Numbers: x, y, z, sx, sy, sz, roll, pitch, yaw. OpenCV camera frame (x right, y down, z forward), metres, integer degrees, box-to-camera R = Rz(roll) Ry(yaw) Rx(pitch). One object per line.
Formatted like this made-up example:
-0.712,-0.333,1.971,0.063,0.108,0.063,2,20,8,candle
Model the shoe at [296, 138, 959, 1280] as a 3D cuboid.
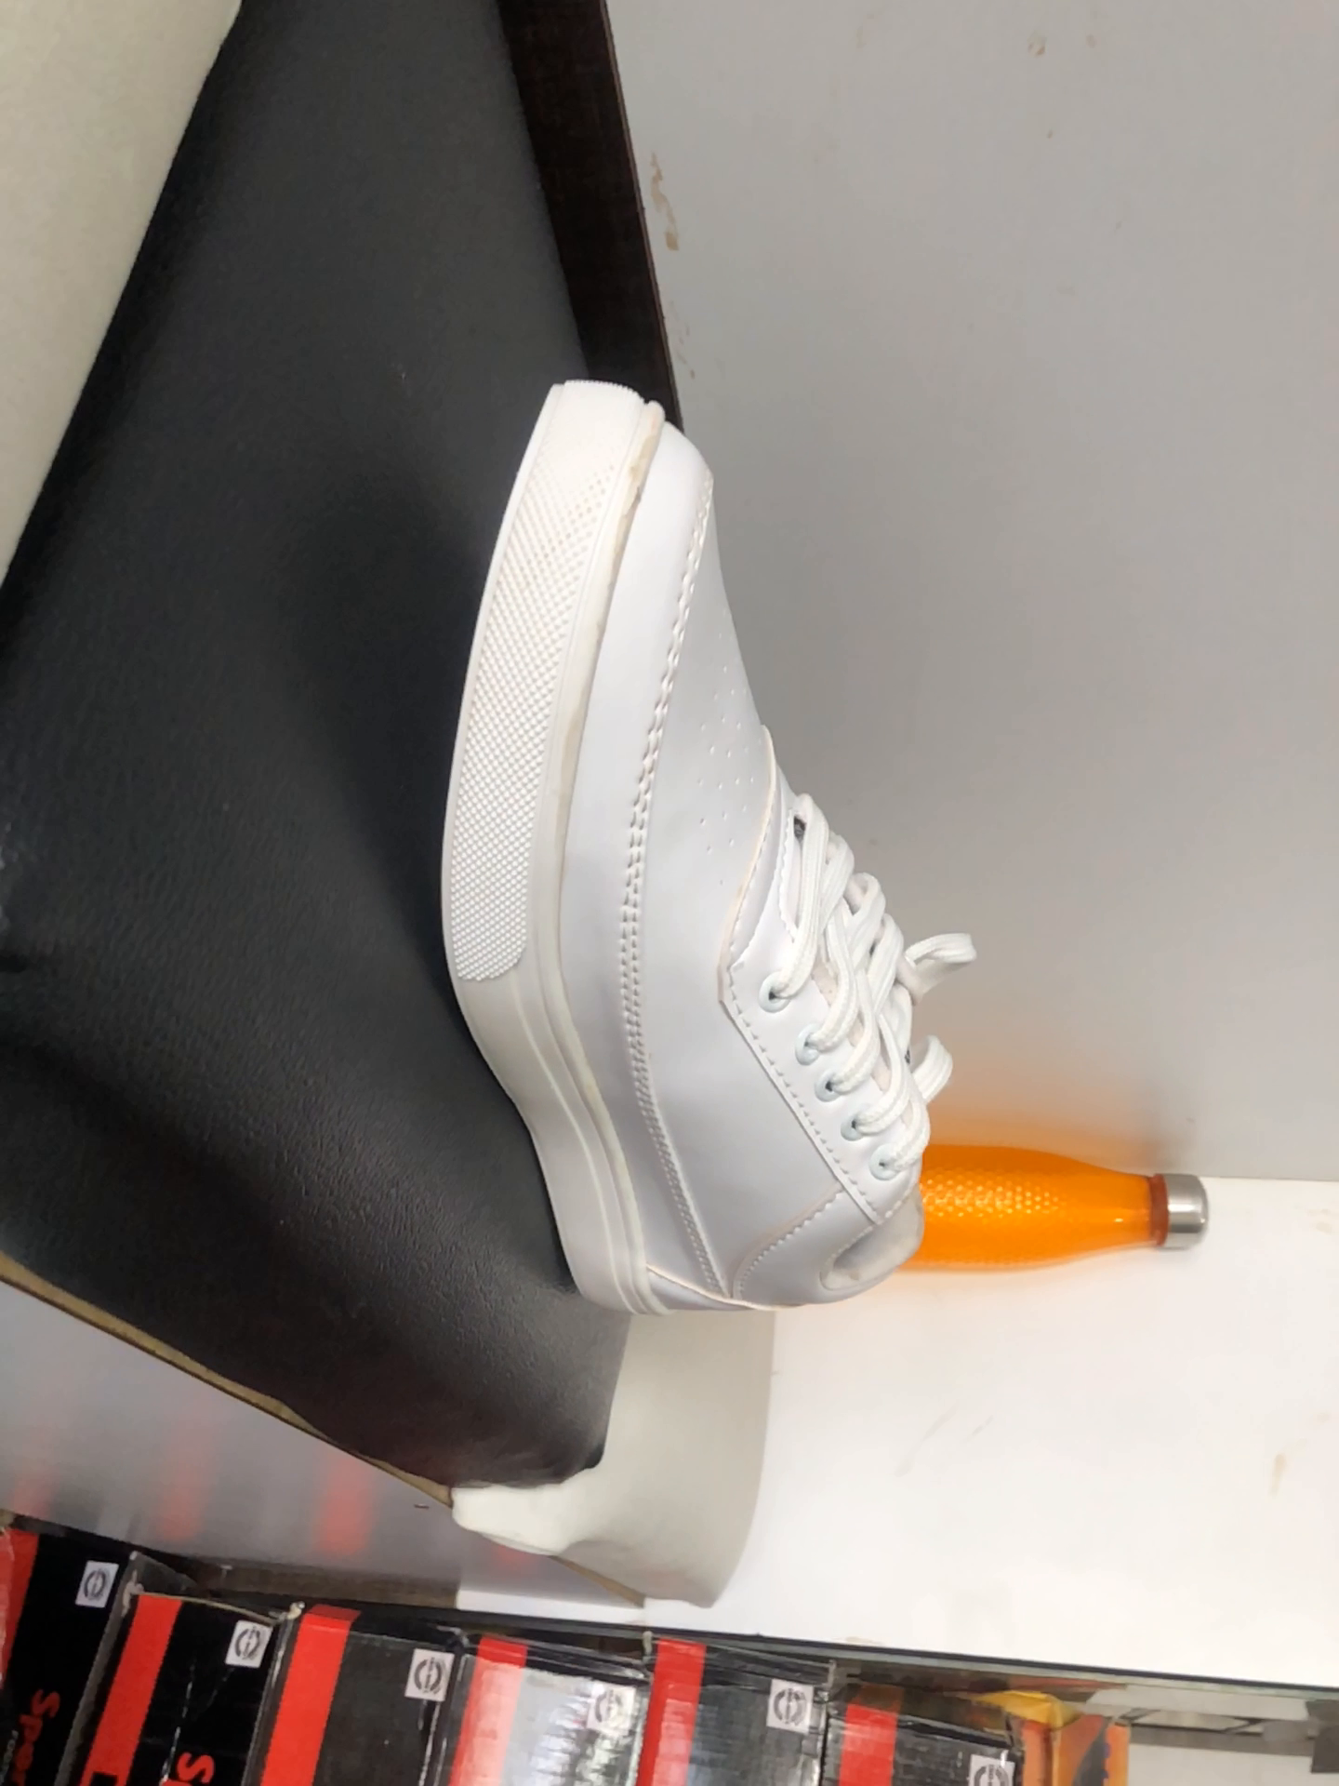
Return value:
0.018,-0.019,0.395,0.291,0.110,0.130,78,16,-52,shoe
